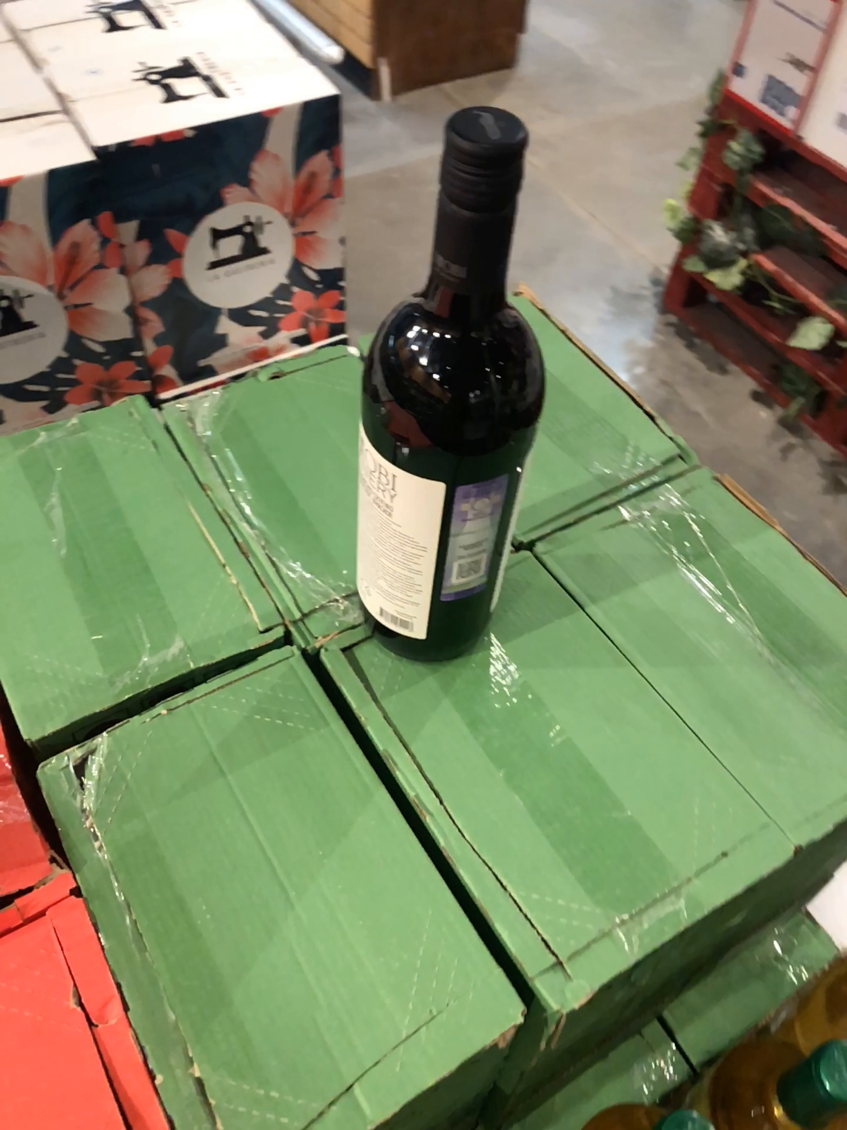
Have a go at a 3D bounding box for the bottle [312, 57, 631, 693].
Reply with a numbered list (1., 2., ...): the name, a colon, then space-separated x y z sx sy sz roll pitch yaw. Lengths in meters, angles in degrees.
1. bottle: 0.008 -0.064 0.443 0.080 0.288 0.090 -20 55 -18
